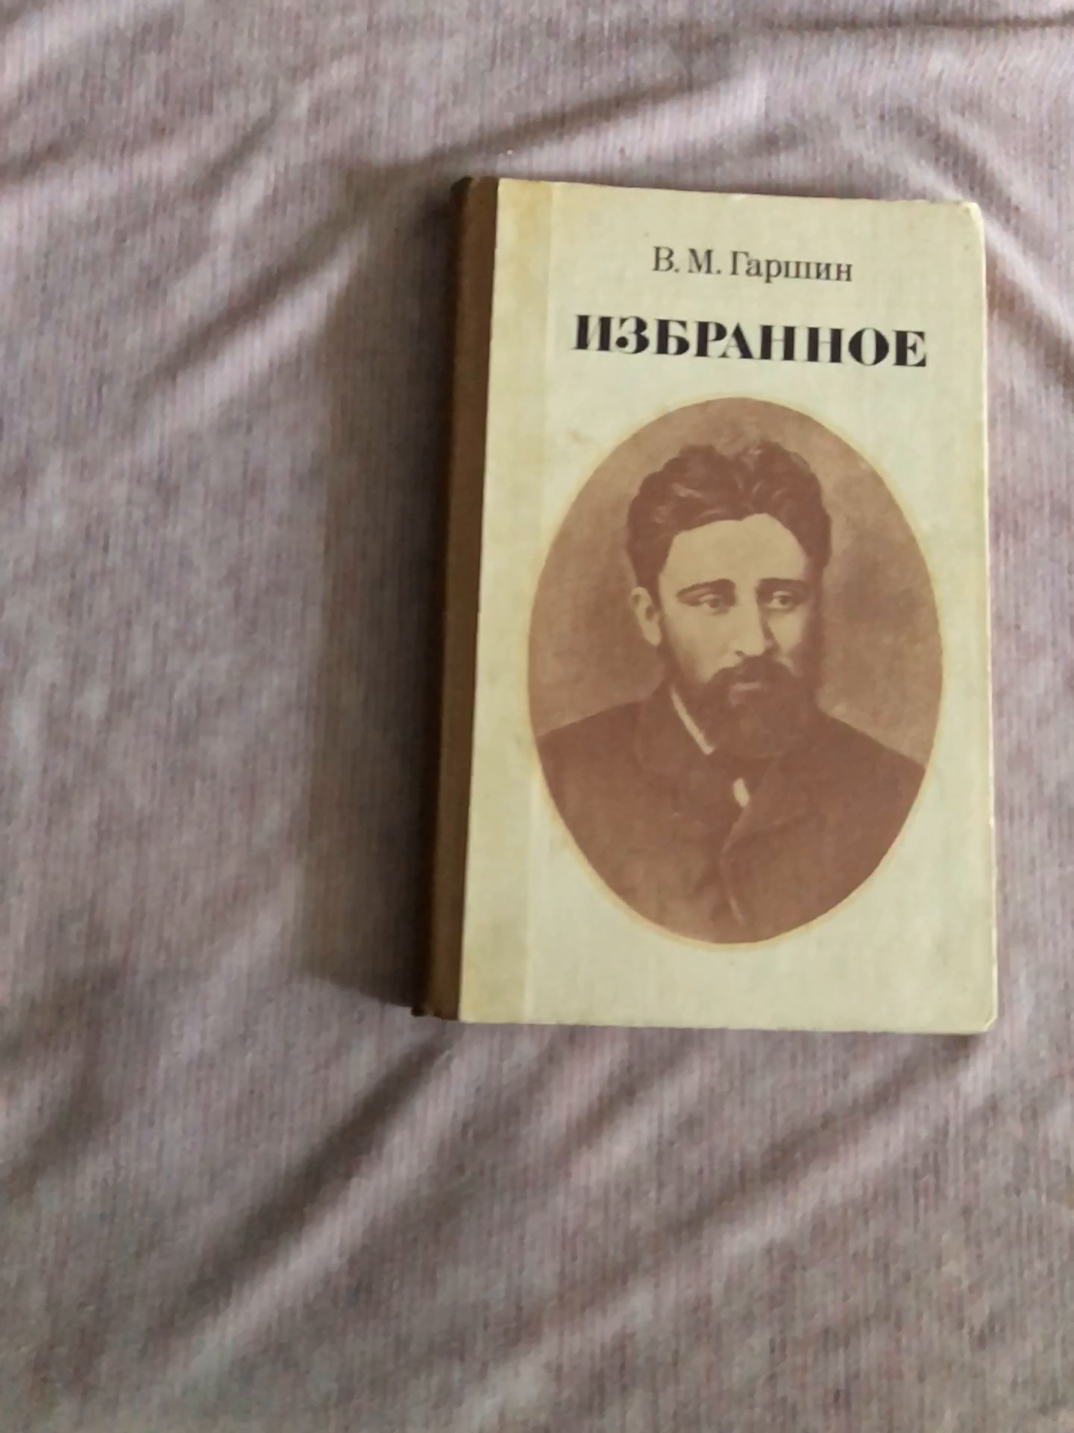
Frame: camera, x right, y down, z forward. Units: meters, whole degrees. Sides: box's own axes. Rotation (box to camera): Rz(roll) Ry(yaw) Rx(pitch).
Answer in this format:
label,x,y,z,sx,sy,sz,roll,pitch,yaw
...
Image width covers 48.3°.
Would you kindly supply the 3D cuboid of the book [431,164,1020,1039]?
label,x,y,z,sx,sy,sz,roll,pitch,yaw
book,0.048,-0.031,0.316,0.142,0.030,0.220,2,82,-2
